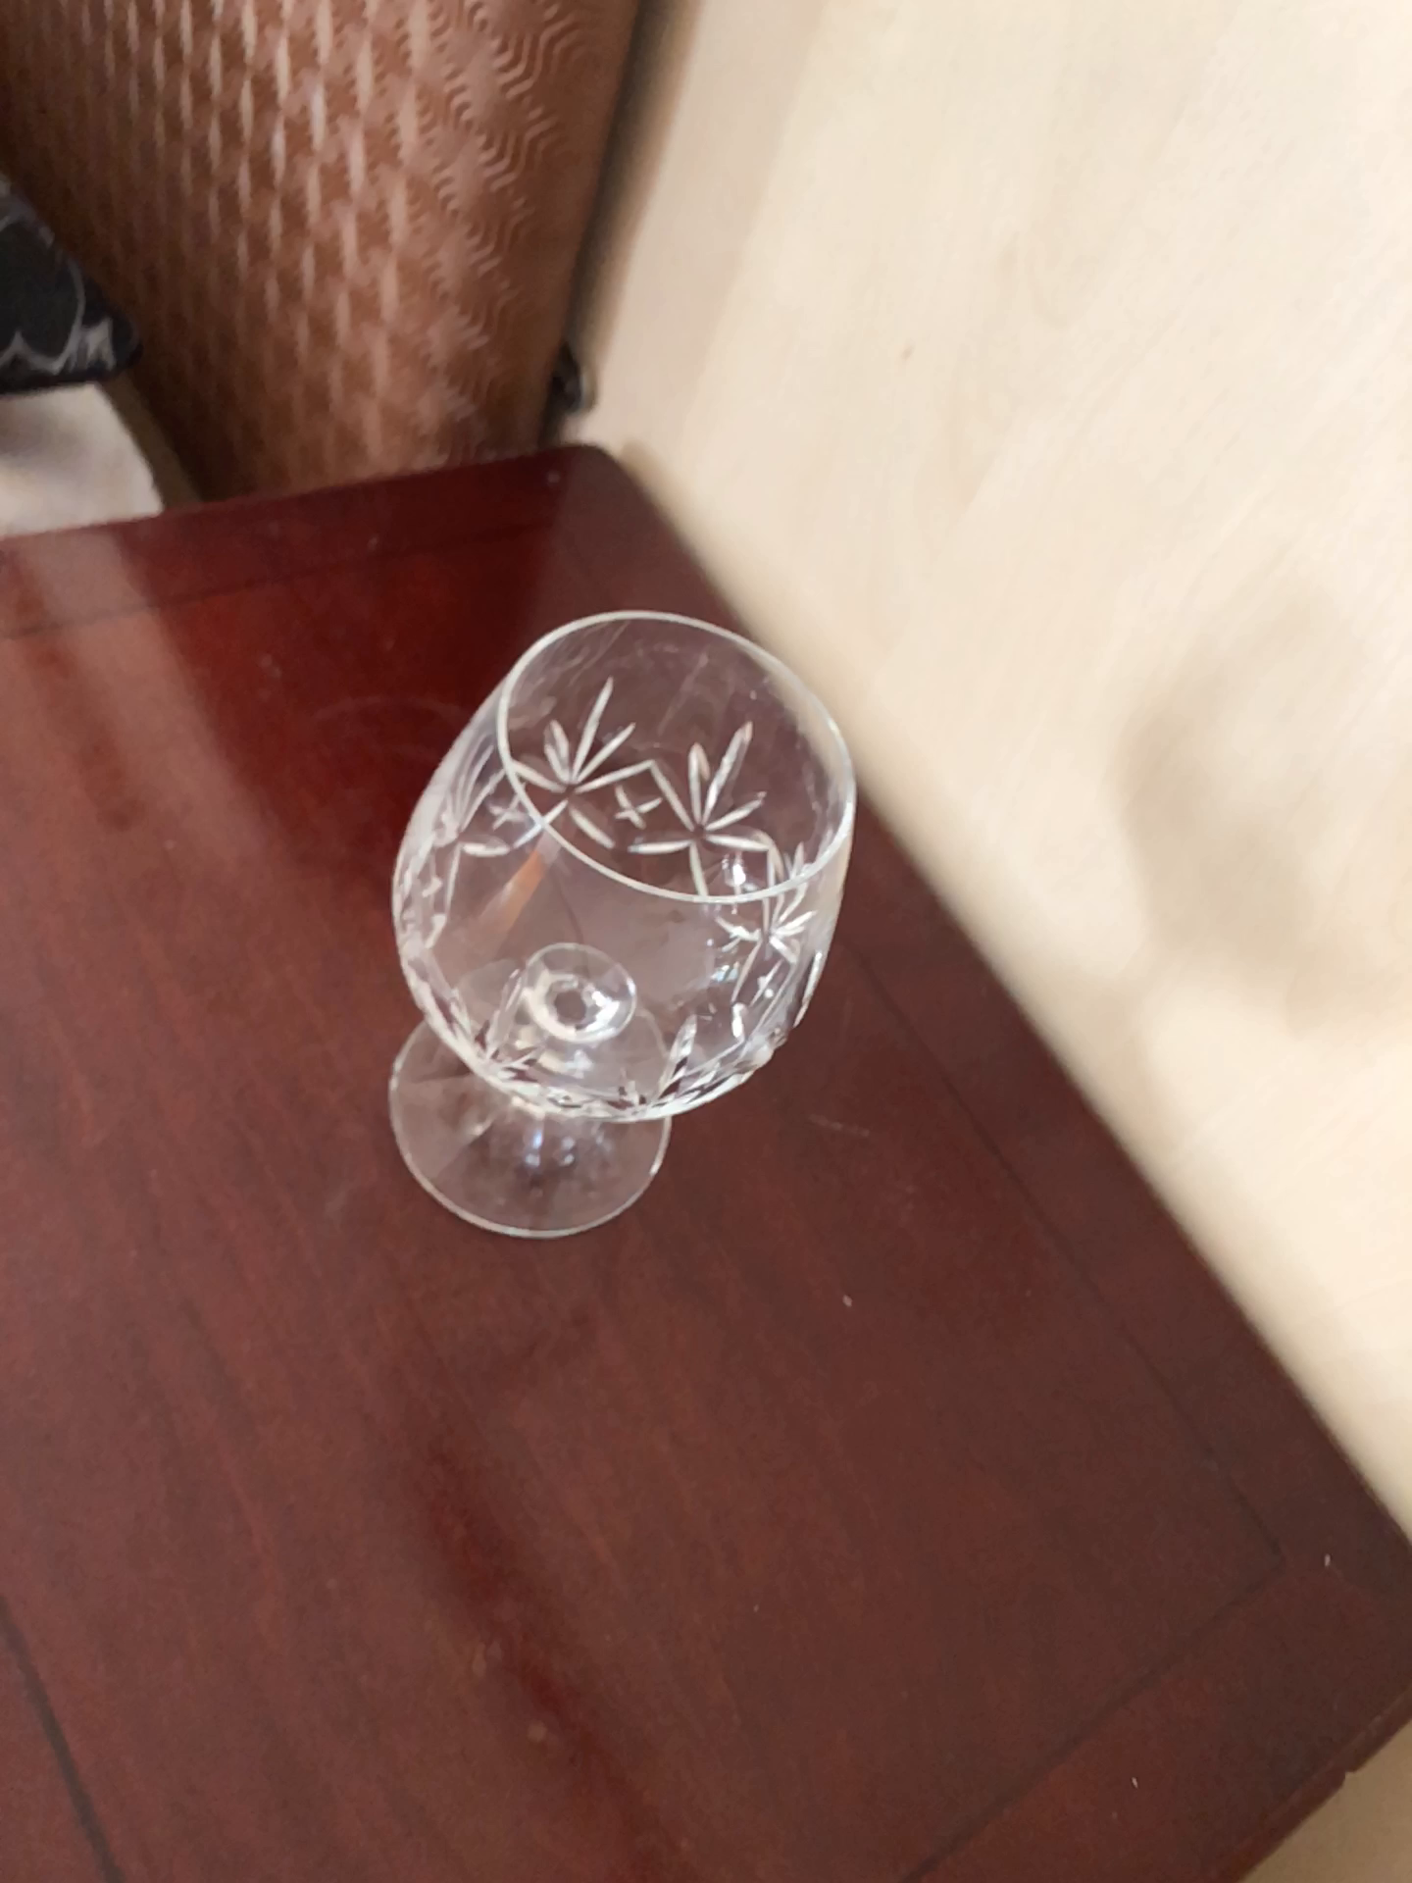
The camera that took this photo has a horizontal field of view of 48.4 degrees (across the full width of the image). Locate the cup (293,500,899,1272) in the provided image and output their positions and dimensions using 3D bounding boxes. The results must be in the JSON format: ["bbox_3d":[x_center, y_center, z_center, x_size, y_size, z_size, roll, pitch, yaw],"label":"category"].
[{"bbox_3d":[-0.026,-0.004,0.331,0.089,0.125,0.088,11,53,-15],"label":"cup"}]
